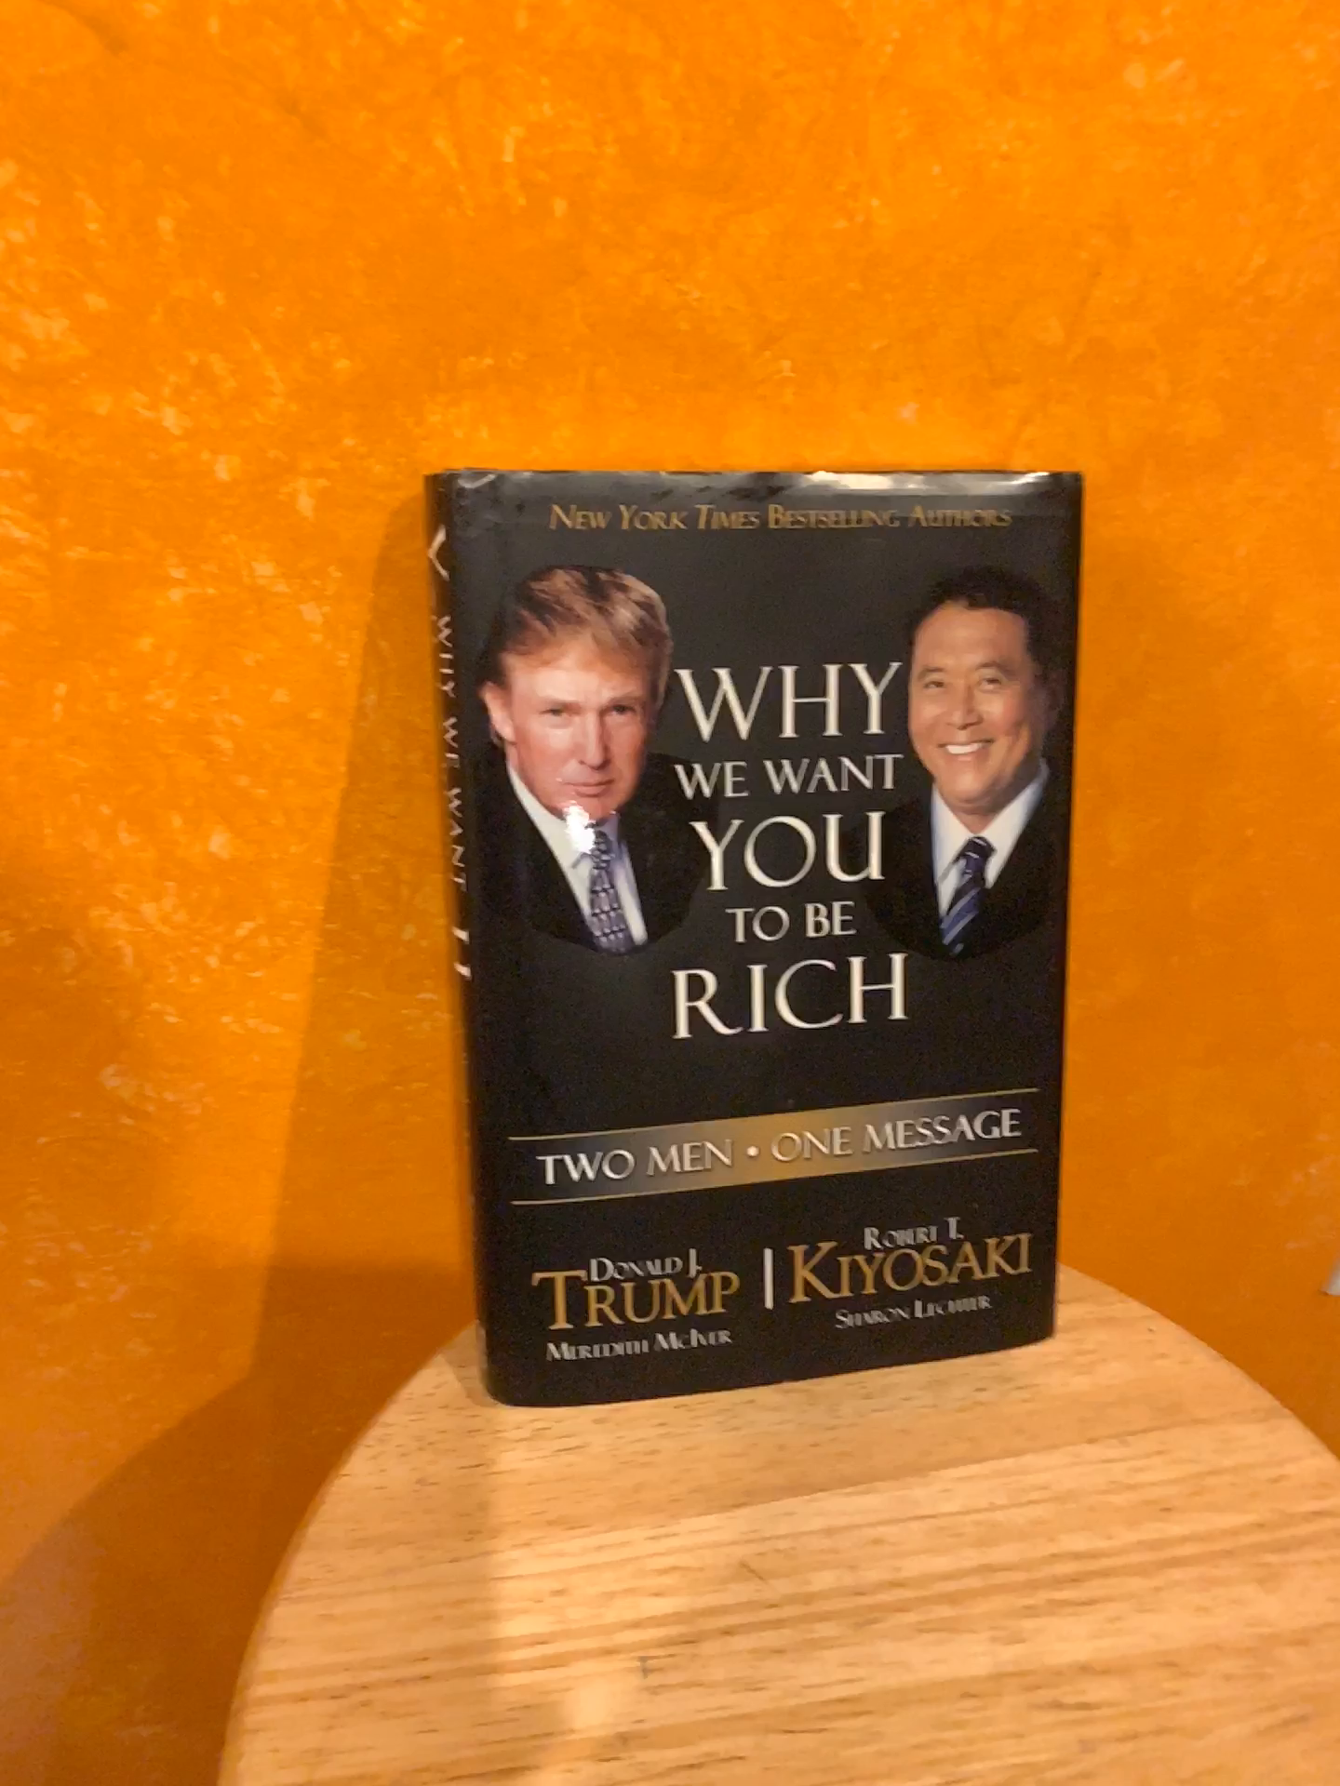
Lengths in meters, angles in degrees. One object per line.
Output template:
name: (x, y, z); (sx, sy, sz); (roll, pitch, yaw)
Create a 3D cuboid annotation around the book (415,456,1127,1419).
book: (0.022, 0.008, 0.327); (0.151, 0.210, 0.044); (-3, 13, -10)
